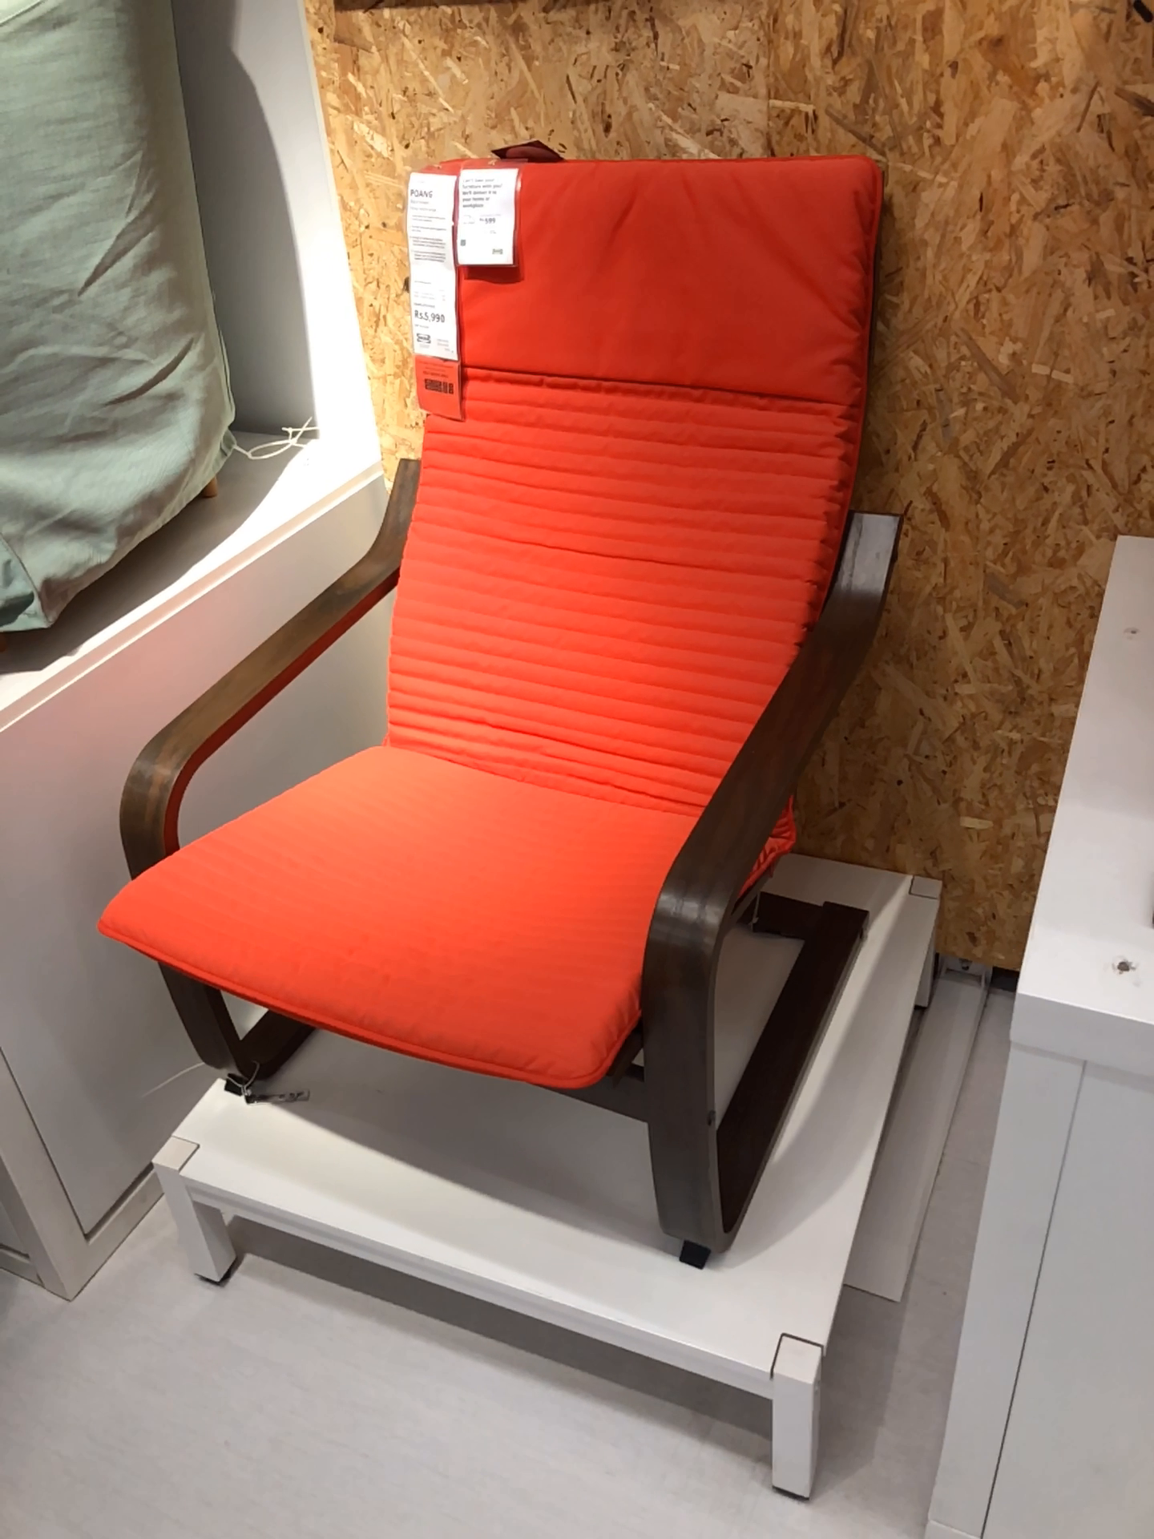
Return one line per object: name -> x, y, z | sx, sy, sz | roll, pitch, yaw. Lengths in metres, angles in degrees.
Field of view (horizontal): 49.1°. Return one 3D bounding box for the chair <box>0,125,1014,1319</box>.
chair -> -0.035, -0.137, 1.379 | 0.751, 0.894, 0.794 | 12, 37, 23
